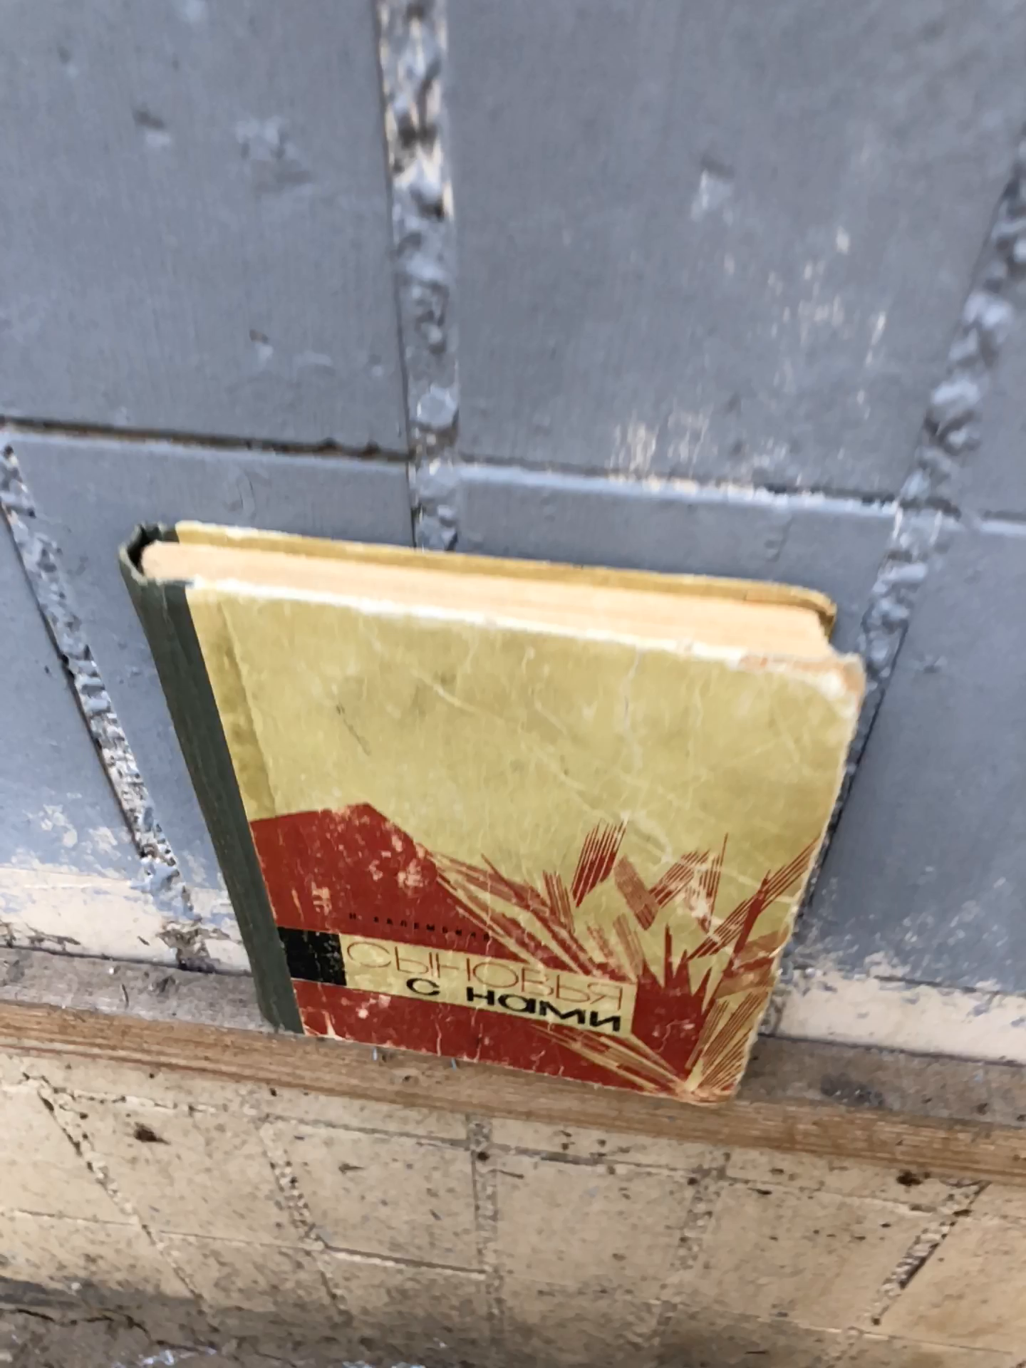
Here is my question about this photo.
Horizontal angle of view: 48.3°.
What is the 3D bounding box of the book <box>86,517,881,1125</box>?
[{"bbox_3d":[-0.006,0.040,0.251,0.135,0.156,0.020,6,43,6],"label":"book"}]
